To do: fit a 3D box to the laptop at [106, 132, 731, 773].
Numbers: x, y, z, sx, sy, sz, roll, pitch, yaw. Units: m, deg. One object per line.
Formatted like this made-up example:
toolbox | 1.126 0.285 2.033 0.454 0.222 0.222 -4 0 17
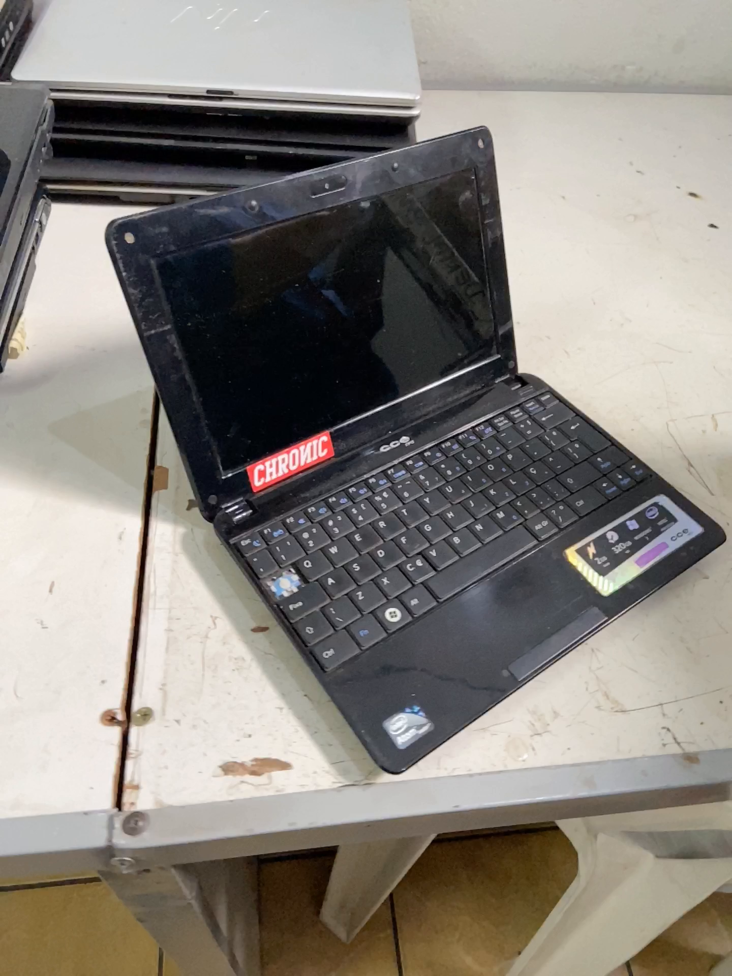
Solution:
laptop | 0.042 -0.048 0.414 0.254 0.137 0.258 -26 57 -25
